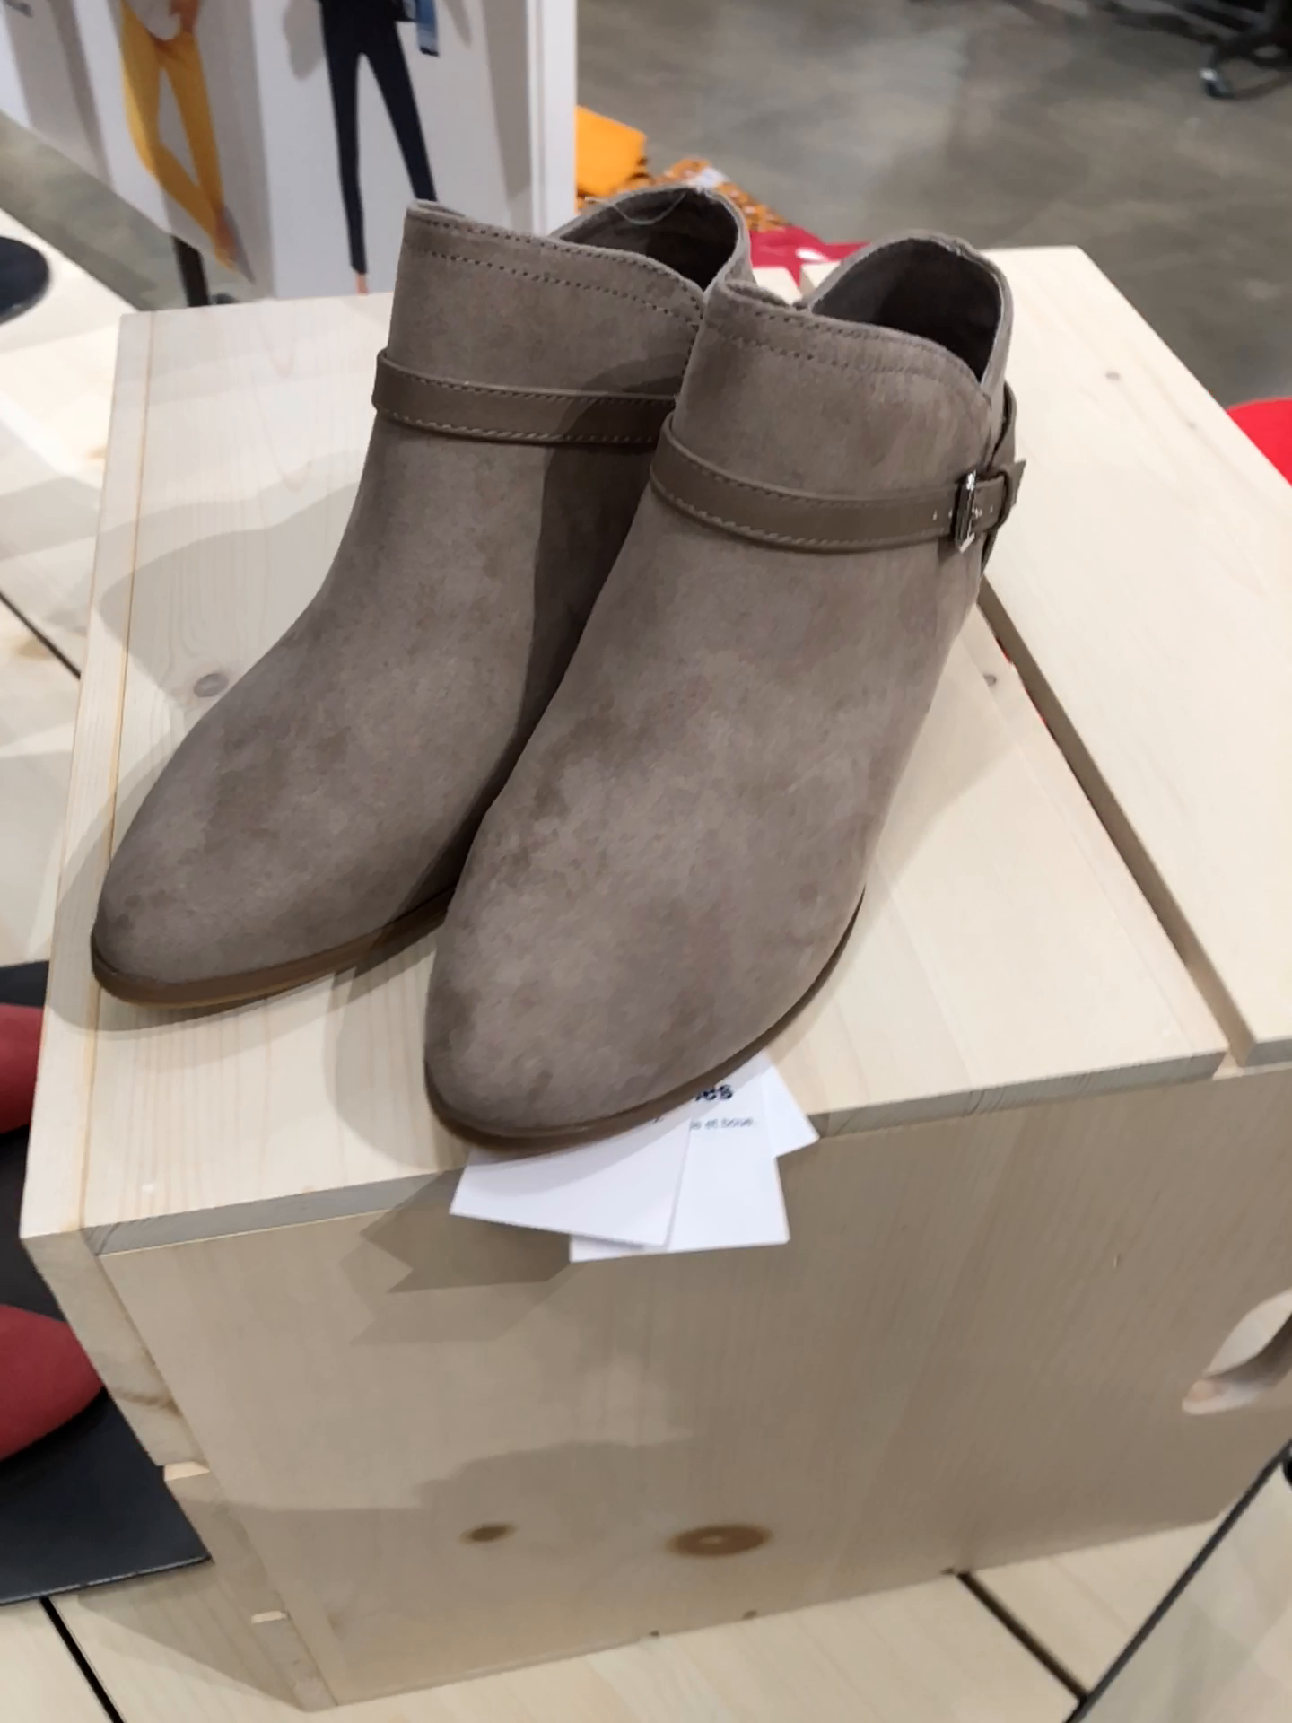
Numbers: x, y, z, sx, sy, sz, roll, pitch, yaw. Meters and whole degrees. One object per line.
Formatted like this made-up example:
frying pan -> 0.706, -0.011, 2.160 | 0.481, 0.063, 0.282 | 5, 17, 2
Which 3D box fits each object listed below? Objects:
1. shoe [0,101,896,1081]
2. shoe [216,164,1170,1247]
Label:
shoe -> -0.044, -0.084, 0.359 | 0.090, 0.110, 0.251 | 27, 52, 22
shoe -> 0.028, -0.055, 0.339 | 0.090, 0.110, 0.251 | 24, 51, 19
